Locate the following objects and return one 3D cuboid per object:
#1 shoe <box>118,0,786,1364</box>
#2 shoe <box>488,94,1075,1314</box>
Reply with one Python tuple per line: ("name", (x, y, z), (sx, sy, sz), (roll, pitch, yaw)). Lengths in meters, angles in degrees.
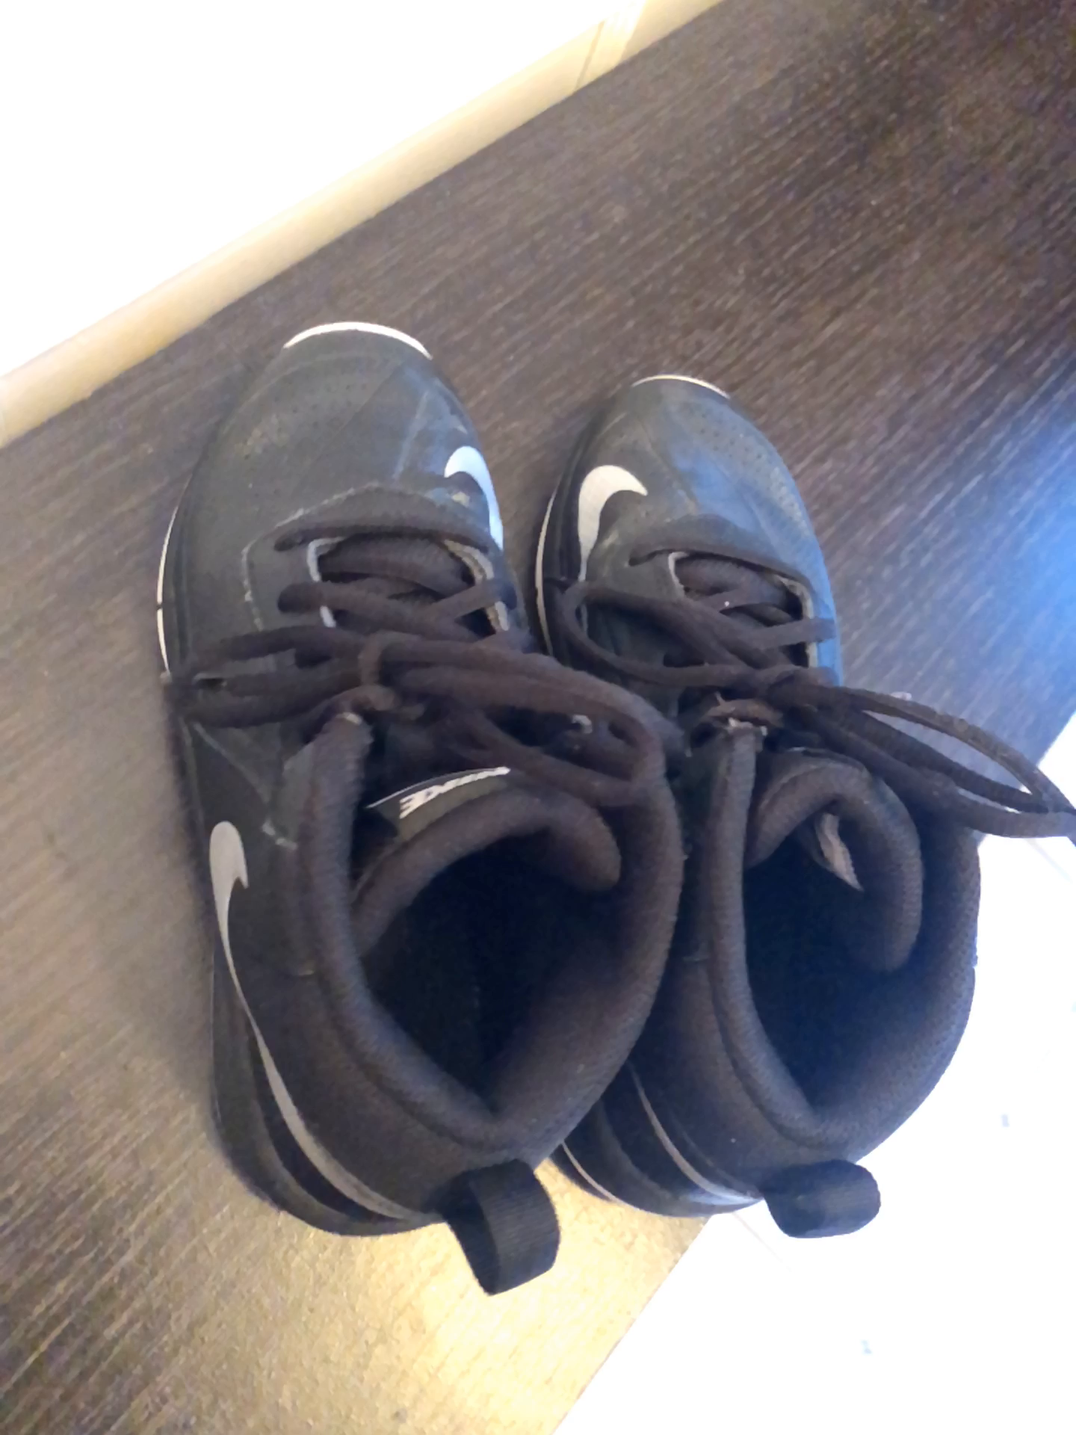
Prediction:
("shoe", (-0.039, -0.016, 0.273), (0.100, 0.130, 0.261), (0, 71, -18))
("shoe", (0.054, 0.001, 0.301), (0.100, 0.130, 0.251), (6, 69, -16))
